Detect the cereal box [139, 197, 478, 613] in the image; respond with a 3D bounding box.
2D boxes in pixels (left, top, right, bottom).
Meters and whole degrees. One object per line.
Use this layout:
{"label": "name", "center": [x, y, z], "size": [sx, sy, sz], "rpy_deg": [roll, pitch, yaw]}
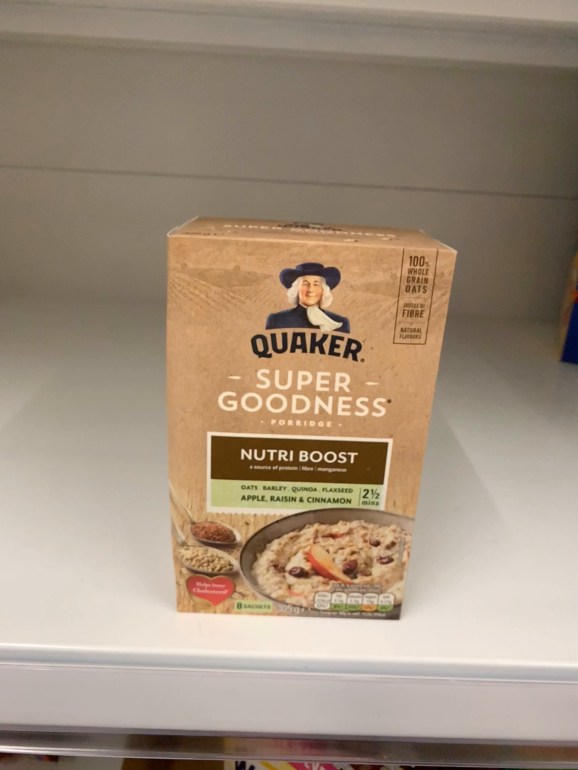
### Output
{"label": "cereal box", "center": [0.003, 0.012, 0.316], "size": [0.140, 0.199, 0.071], "rpy_deg": [3, 21, -1]}
